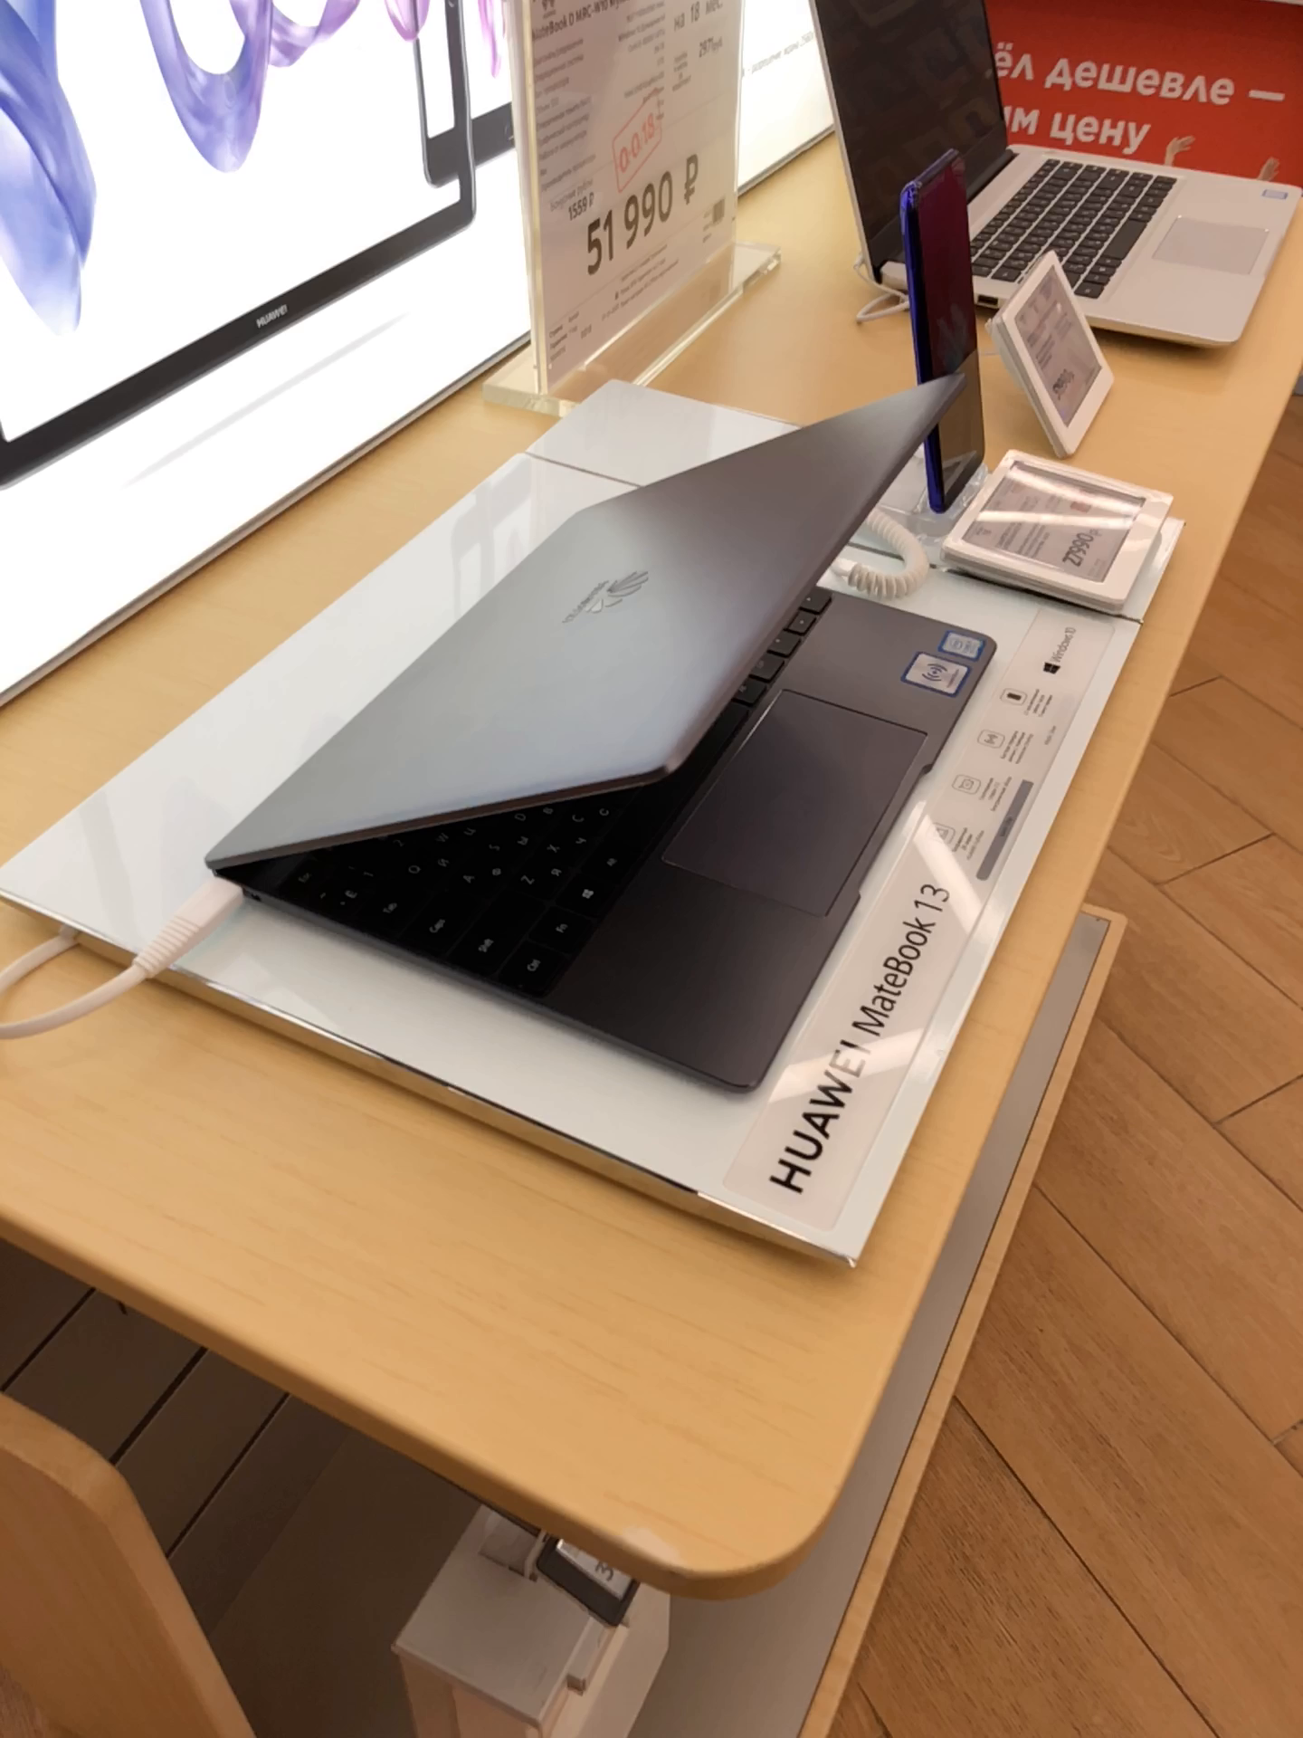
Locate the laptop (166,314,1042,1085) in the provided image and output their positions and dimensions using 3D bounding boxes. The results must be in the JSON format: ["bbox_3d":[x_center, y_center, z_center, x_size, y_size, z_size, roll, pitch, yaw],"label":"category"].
[{"bbox_3d":[0.002,-0.087,0.524,0.204,0.106,0.272,19,44,17],"label":"laptop"}]
